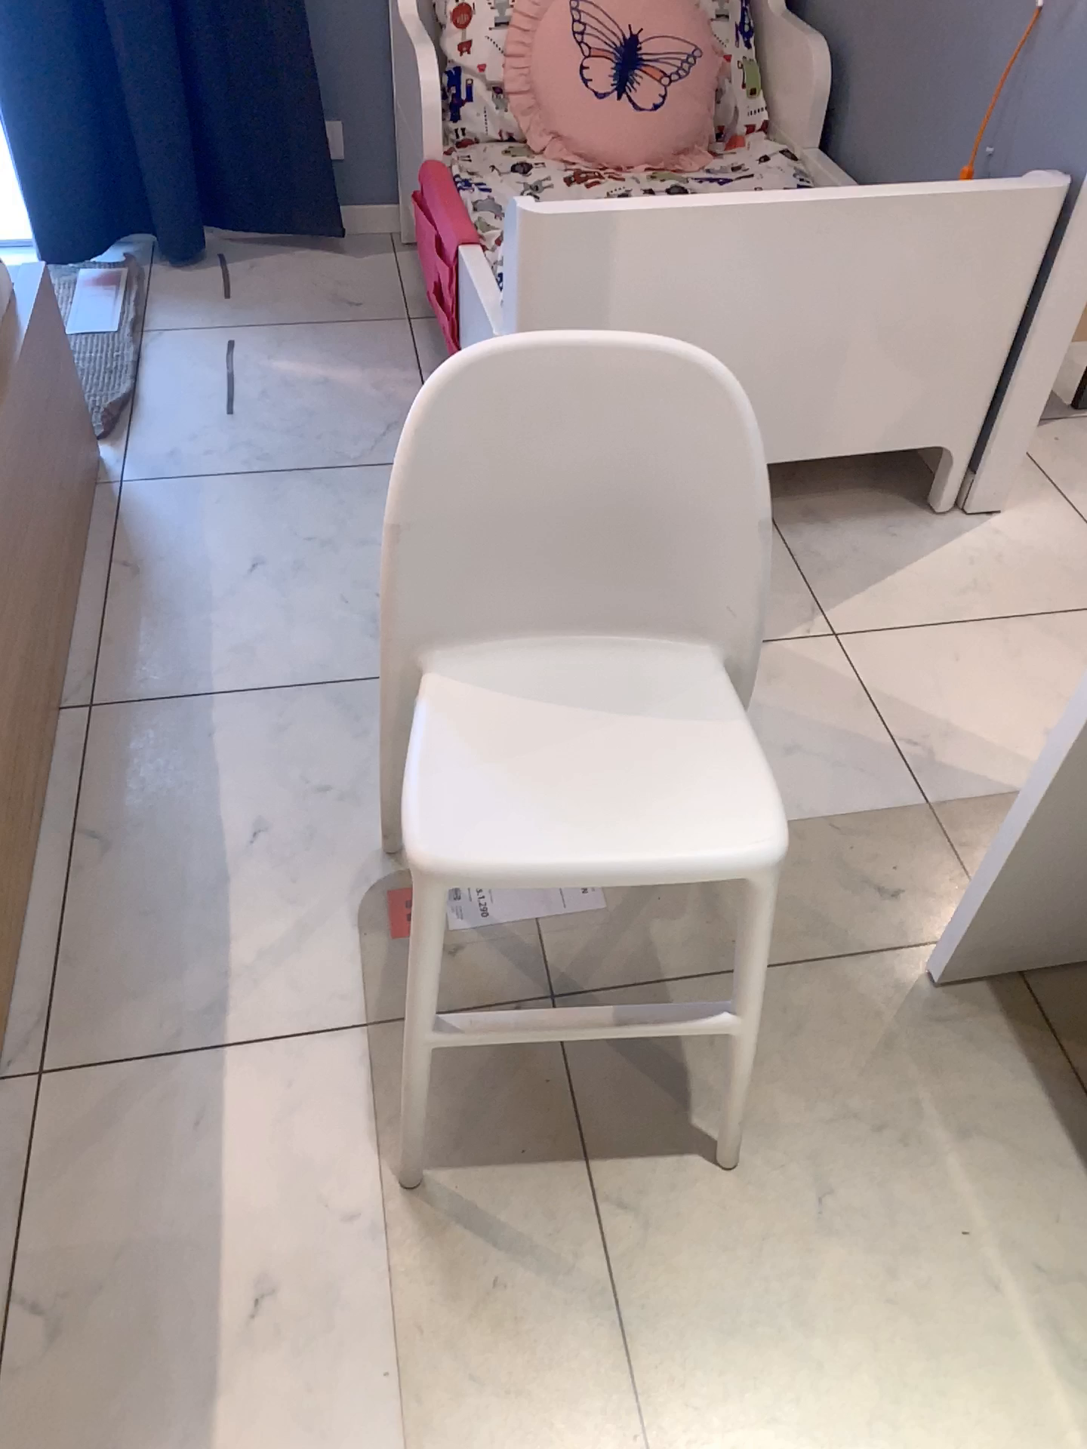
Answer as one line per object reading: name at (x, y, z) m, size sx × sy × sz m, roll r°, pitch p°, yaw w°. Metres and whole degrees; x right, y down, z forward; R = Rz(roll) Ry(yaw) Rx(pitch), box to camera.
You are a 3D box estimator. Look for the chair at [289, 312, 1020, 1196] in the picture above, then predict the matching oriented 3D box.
chair at (0.041, 0.054, 1.066) m, size 0.430 × 0.698 × 0.502 m, roll -1°, pitch 46°, yaw -4°
